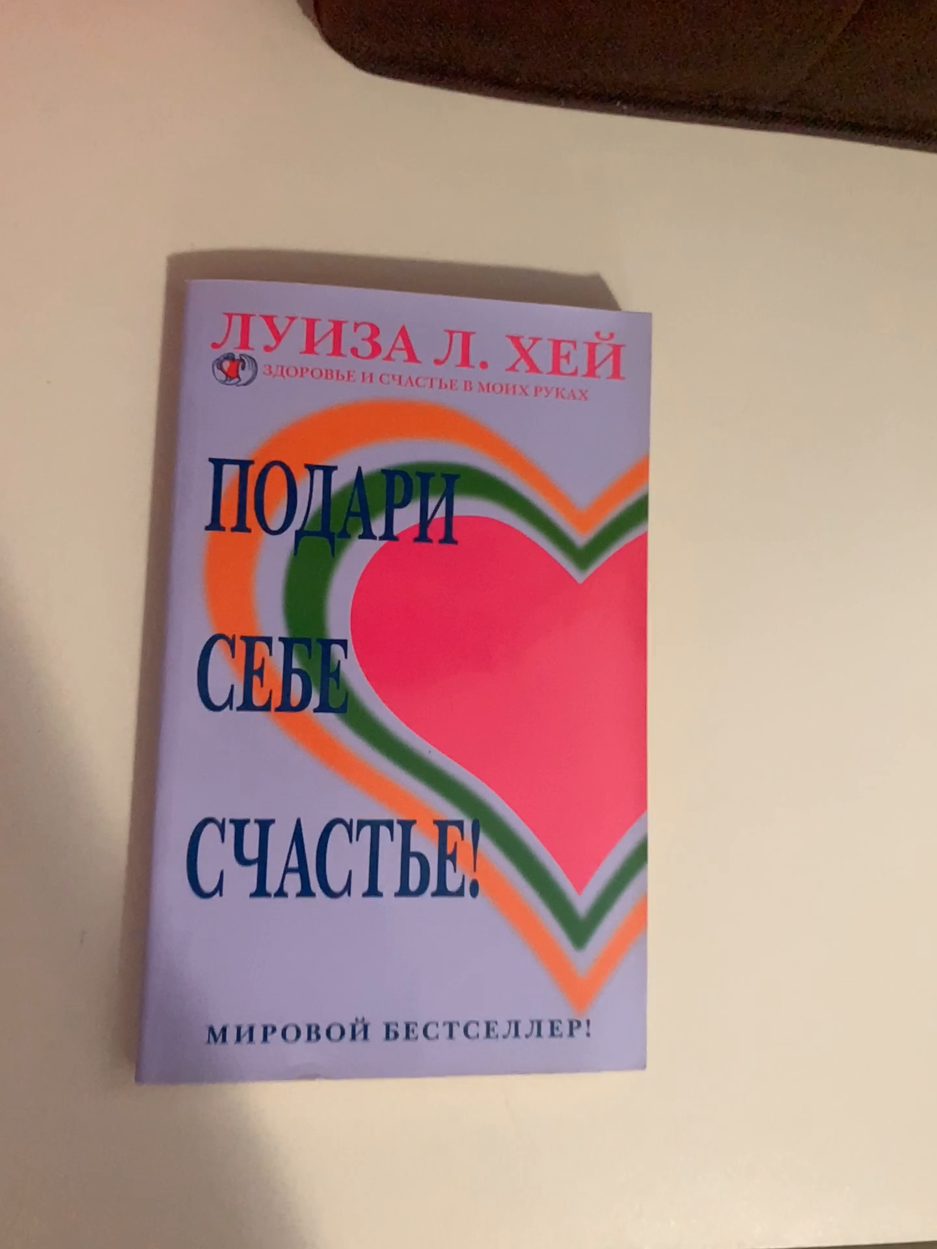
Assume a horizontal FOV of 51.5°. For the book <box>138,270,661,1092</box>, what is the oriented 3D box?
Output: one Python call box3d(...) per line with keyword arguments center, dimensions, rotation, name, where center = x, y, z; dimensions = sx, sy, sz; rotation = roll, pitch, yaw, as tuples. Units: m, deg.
box3d(center=(-0.013, 0.012, 0.246), dimensions=(0.123, 0.016, 0.194), rotation=(2, 84, -8), name="book")
